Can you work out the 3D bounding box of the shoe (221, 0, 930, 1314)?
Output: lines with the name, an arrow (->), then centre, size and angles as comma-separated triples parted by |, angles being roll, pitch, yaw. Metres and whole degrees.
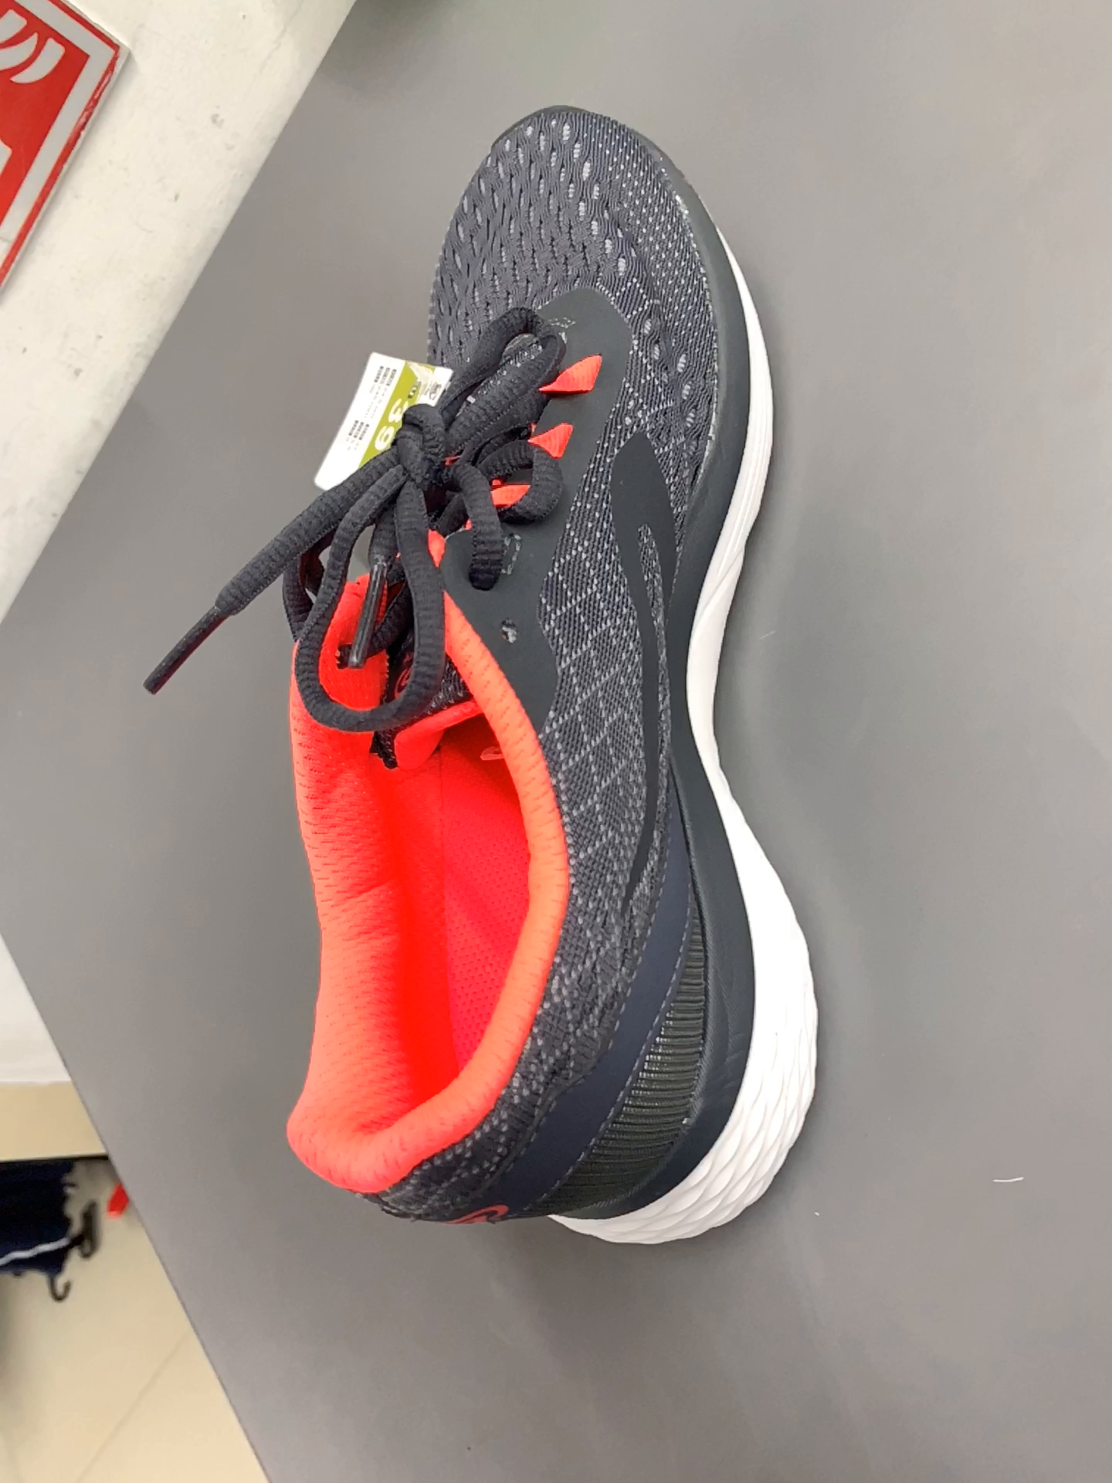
shoe -> 0.005, -0.021, 0.285 | 0.110, 0.110, 0.270 | -13, 70, 33
